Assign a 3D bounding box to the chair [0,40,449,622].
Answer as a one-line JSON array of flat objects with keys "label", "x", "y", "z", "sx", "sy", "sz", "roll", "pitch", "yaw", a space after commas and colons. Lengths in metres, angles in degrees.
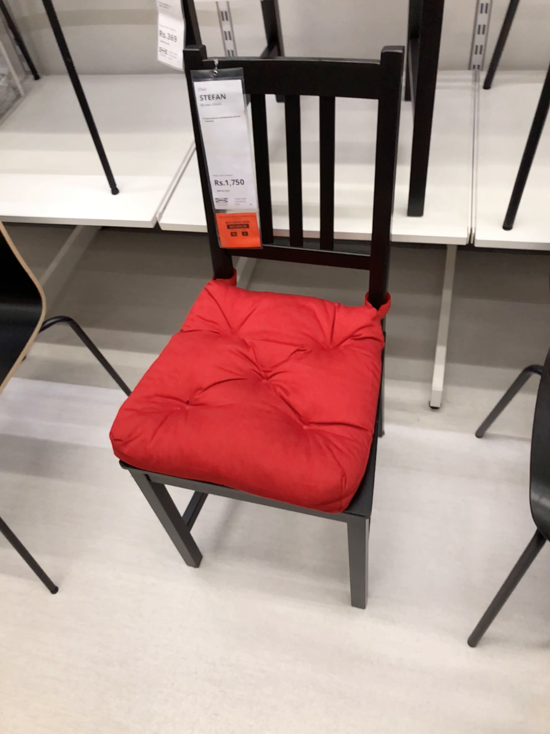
[{"label": "chair", "x": 0.001, "y": 0.002, "z": 1.005, "sx": 0.430, "sy": 0.835, "sz": 0.482, "roll": 8, "pitch": 53, "yaw": 15}]
